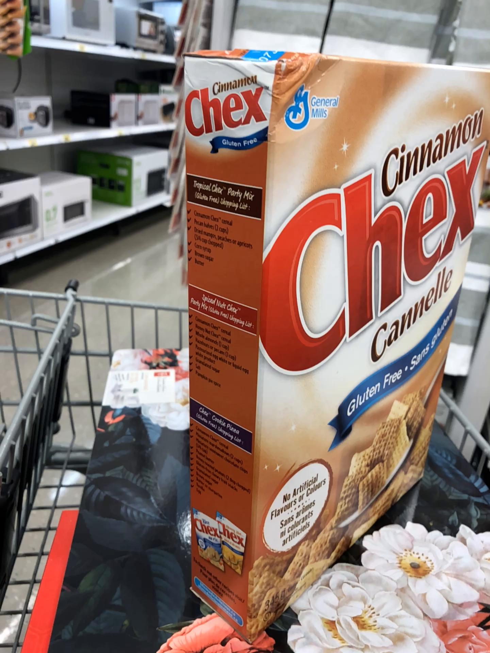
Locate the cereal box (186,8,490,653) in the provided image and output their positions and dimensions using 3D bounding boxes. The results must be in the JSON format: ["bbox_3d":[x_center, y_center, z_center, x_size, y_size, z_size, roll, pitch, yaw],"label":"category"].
[{"bbox_3d":[0.063,-0.004,0.296,0.060,0.259,0.200,17,25,37],"label":"cereal box"}]
